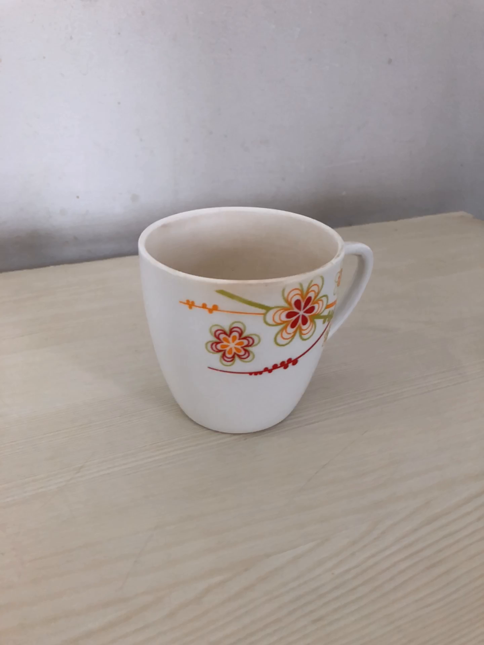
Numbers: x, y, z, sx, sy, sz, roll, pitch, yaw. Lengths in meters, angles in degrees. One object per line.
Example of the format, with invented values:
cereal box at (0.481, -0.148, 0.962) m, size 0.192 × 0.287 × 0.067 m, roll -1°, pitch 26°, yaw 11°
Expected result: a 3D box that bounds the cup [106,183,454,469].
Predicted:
cup at (0.013, -0.008, 0.219) m, size 0.110 × 0.070 × 0.070 m, roll -14°, pitch 32°, yaw -26°
